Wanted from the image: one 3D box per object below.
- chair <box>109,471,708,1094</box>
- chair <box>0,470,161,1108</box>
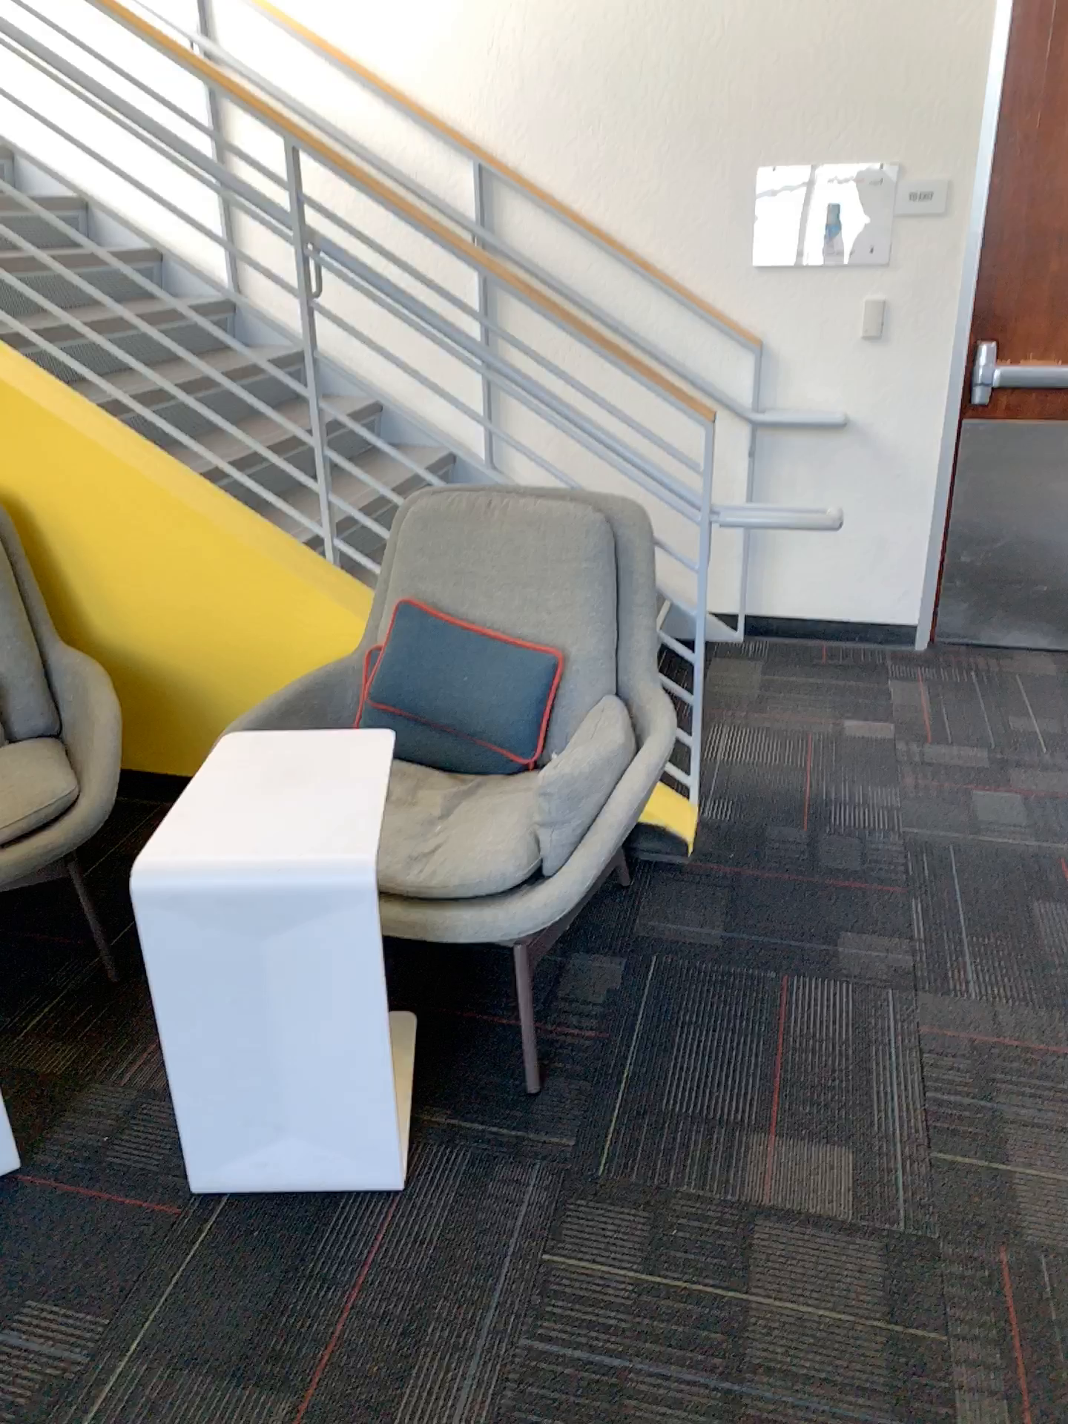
[{"bbox_3d":[-0.196,0.043,2.362,0.871,0.945,0.883,9,23,24],"label":"chair"},{"bbox_3d":[-1.468,0.073,2.467,0.891,1.015,0.844,-14,24,-24],"label":"chair"}]
